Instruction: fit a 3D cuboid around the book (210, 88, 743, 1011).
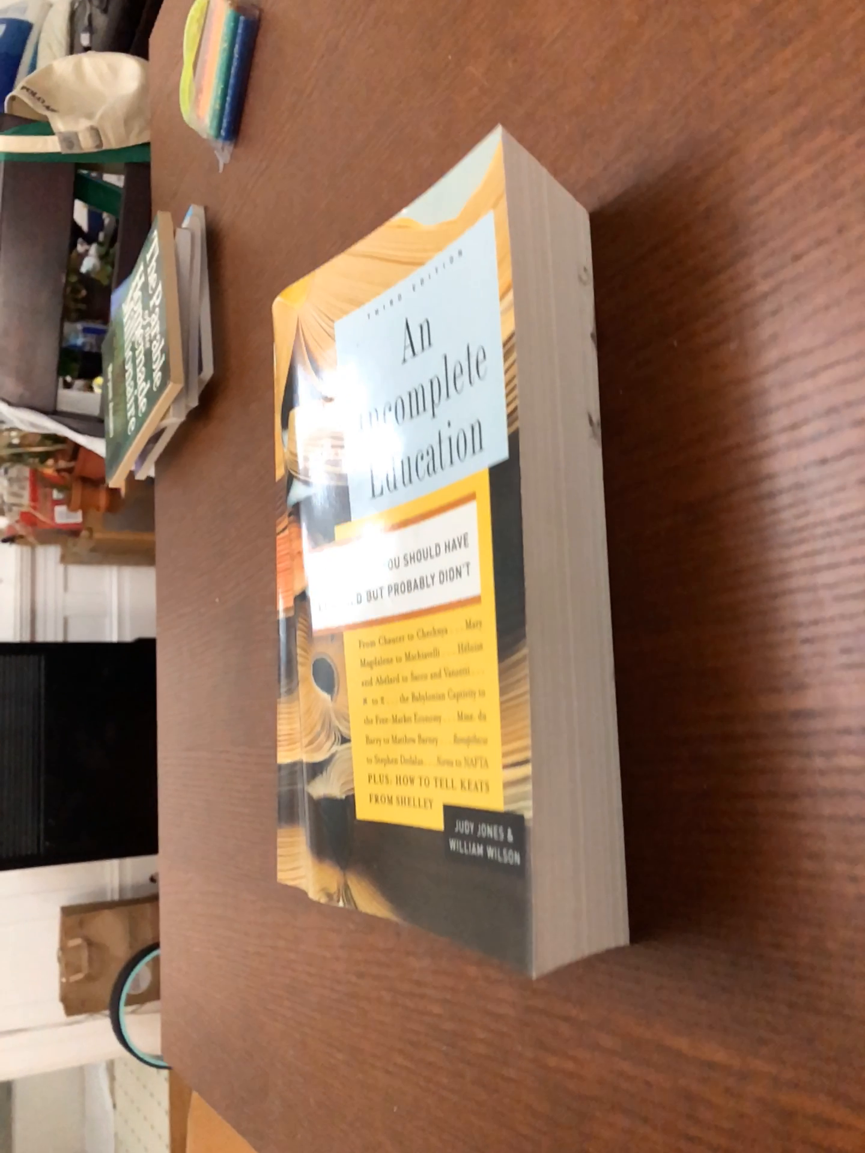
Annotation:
[{"bbox_3d":[-0.007,0.001,0.354,0.211,0.060,0.250,-14,76,51],"label":"book"}]
